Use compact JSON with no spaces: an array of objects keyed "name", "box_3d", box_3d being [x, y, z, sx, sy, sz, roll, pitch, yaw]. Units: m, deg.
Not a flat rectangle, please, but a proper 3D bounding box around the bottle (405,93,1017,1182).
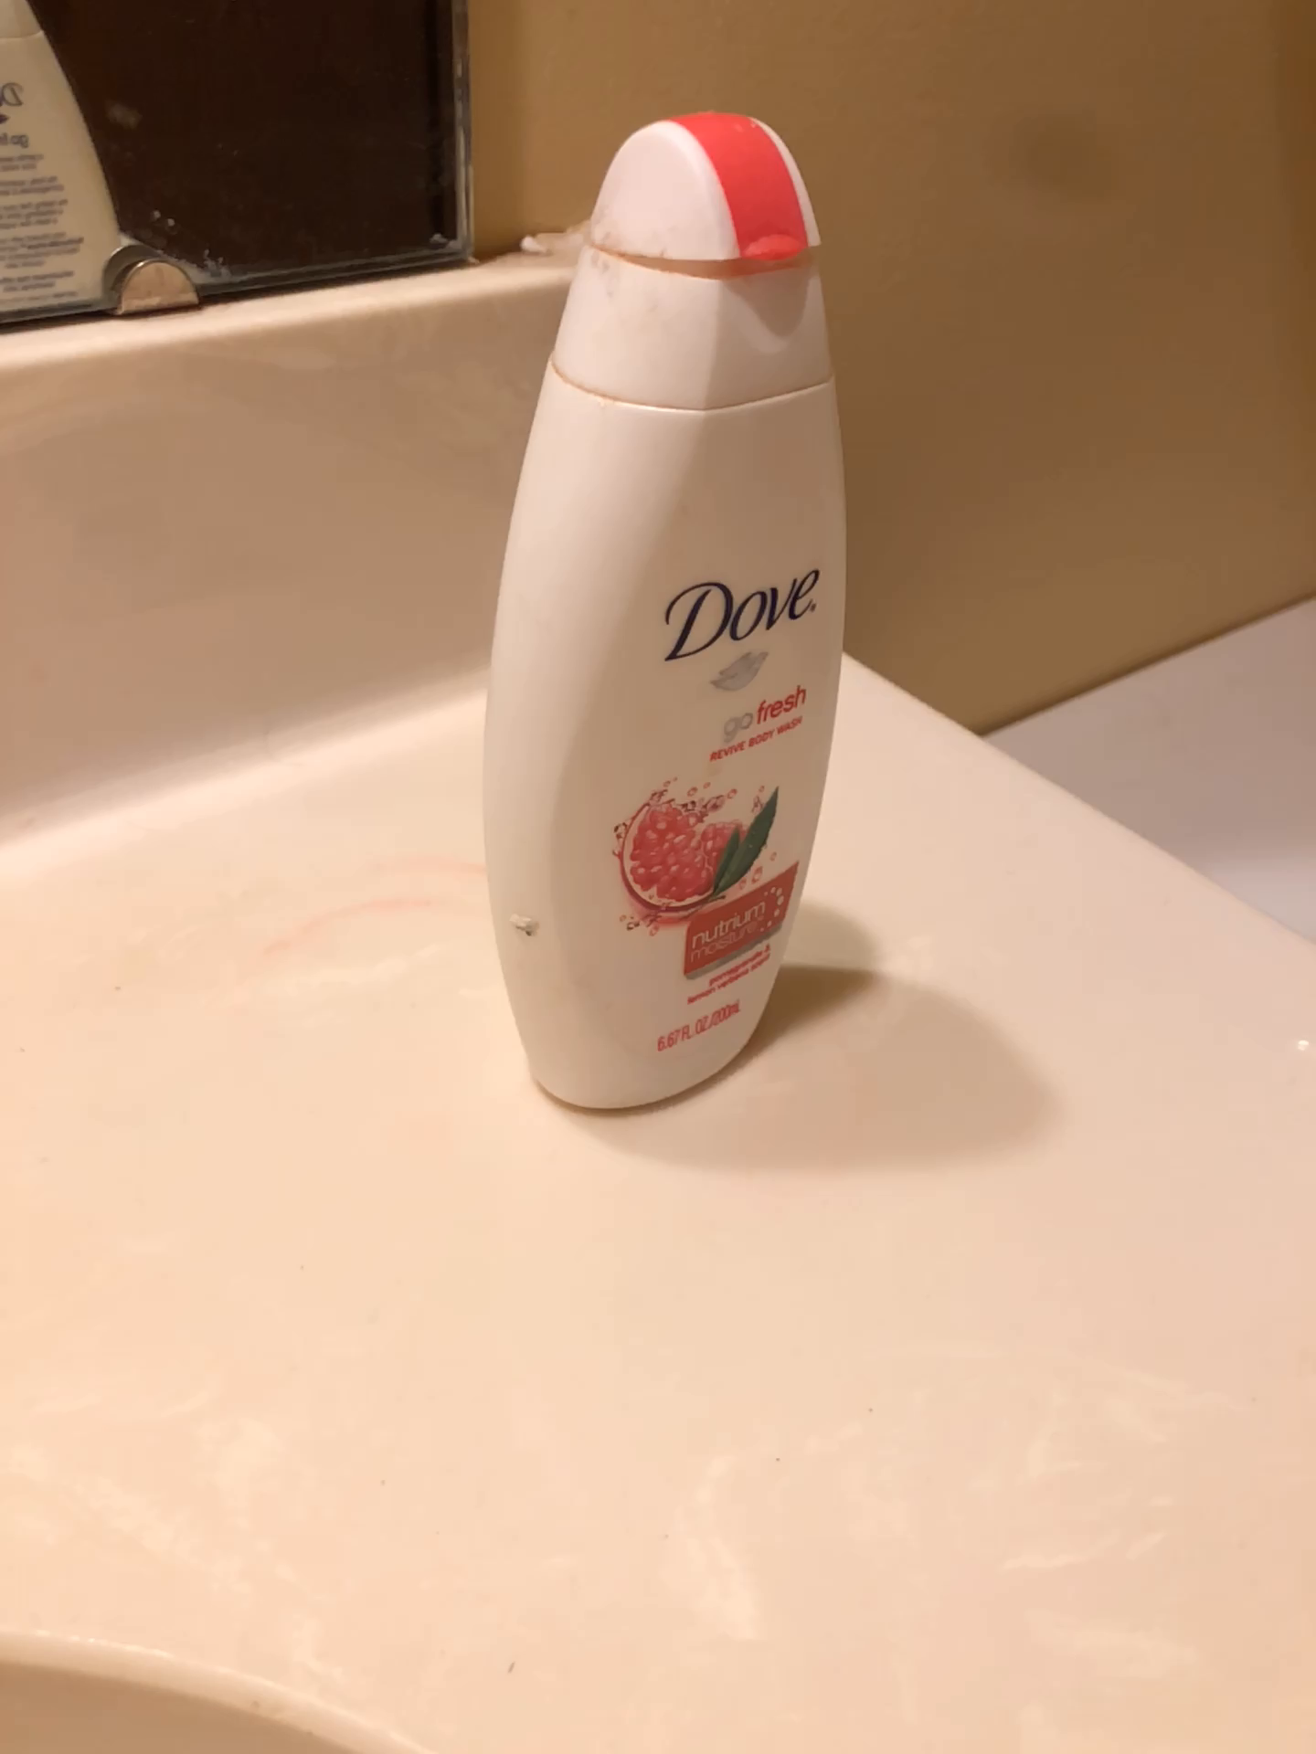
[{"name":"bottle","box_3d":[0.004,-0.033,0.238,0.070,0.160,0.040,-22,44,-31]}]
